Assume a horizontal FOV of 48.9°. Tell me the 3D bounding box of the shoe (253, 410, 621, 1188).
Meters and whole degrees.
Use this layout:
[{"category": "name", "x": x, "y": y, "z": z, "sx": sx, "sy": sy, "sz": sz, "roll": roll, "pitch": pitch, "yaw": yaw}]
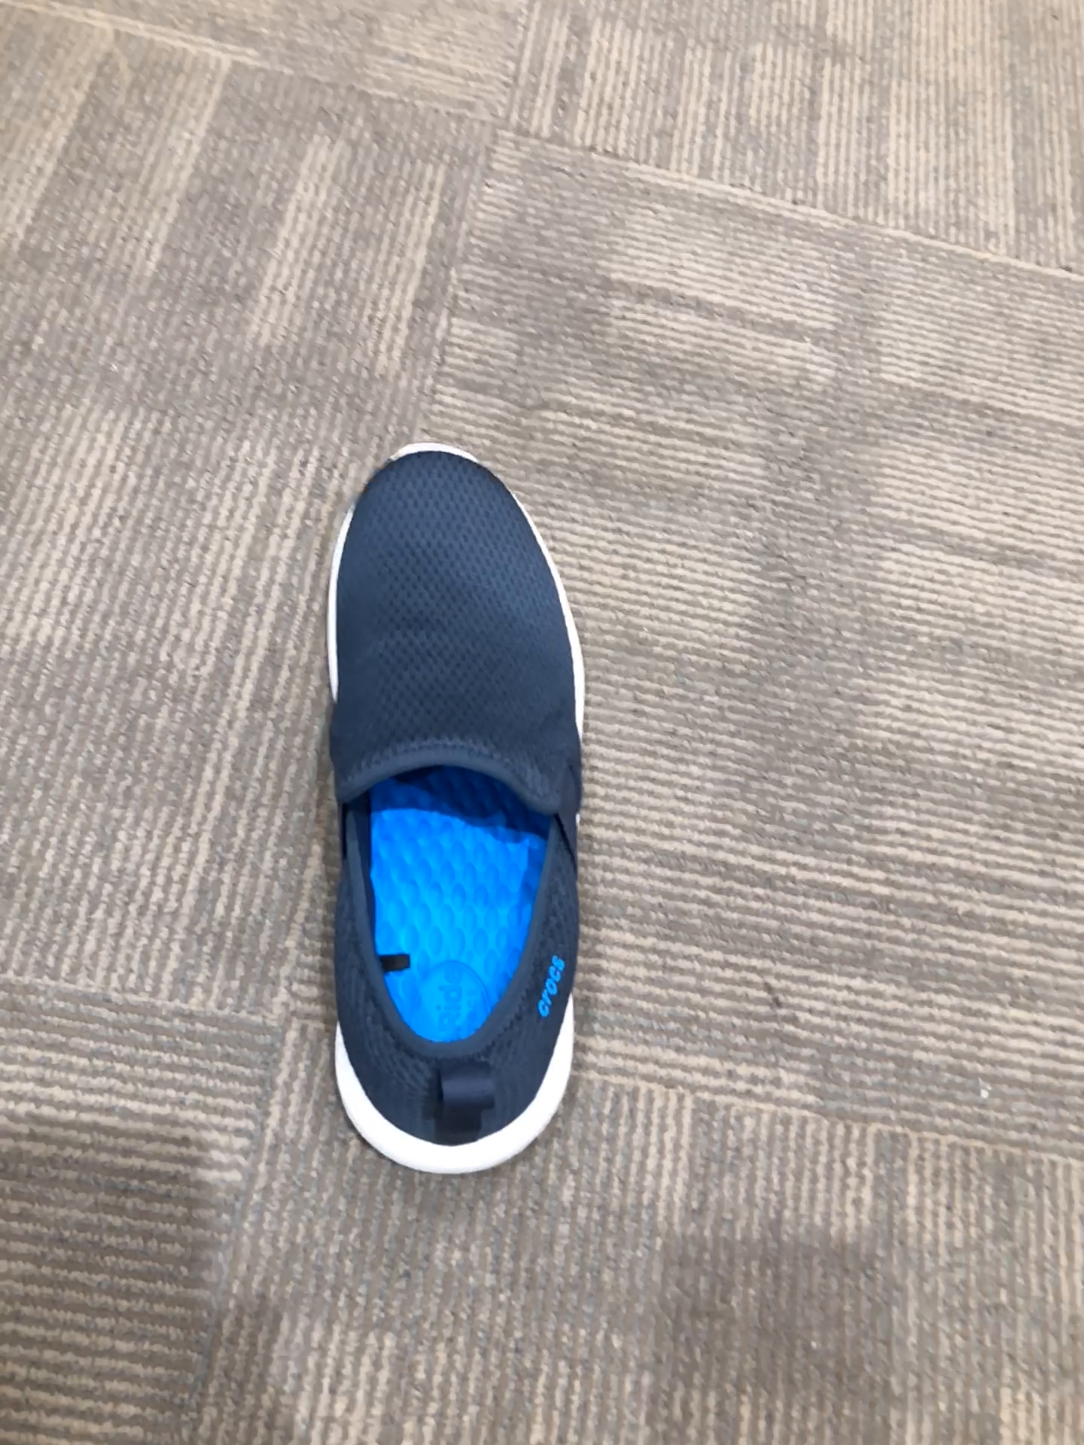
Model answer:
[{"category": "shoe", "x": -0.037, "y": 0.032, "z": 0.464, "sx": 0.110, "sy": 0.120, "sz": 0.271, "roll": 5, "pitch": 66, "yaw": -9}]
